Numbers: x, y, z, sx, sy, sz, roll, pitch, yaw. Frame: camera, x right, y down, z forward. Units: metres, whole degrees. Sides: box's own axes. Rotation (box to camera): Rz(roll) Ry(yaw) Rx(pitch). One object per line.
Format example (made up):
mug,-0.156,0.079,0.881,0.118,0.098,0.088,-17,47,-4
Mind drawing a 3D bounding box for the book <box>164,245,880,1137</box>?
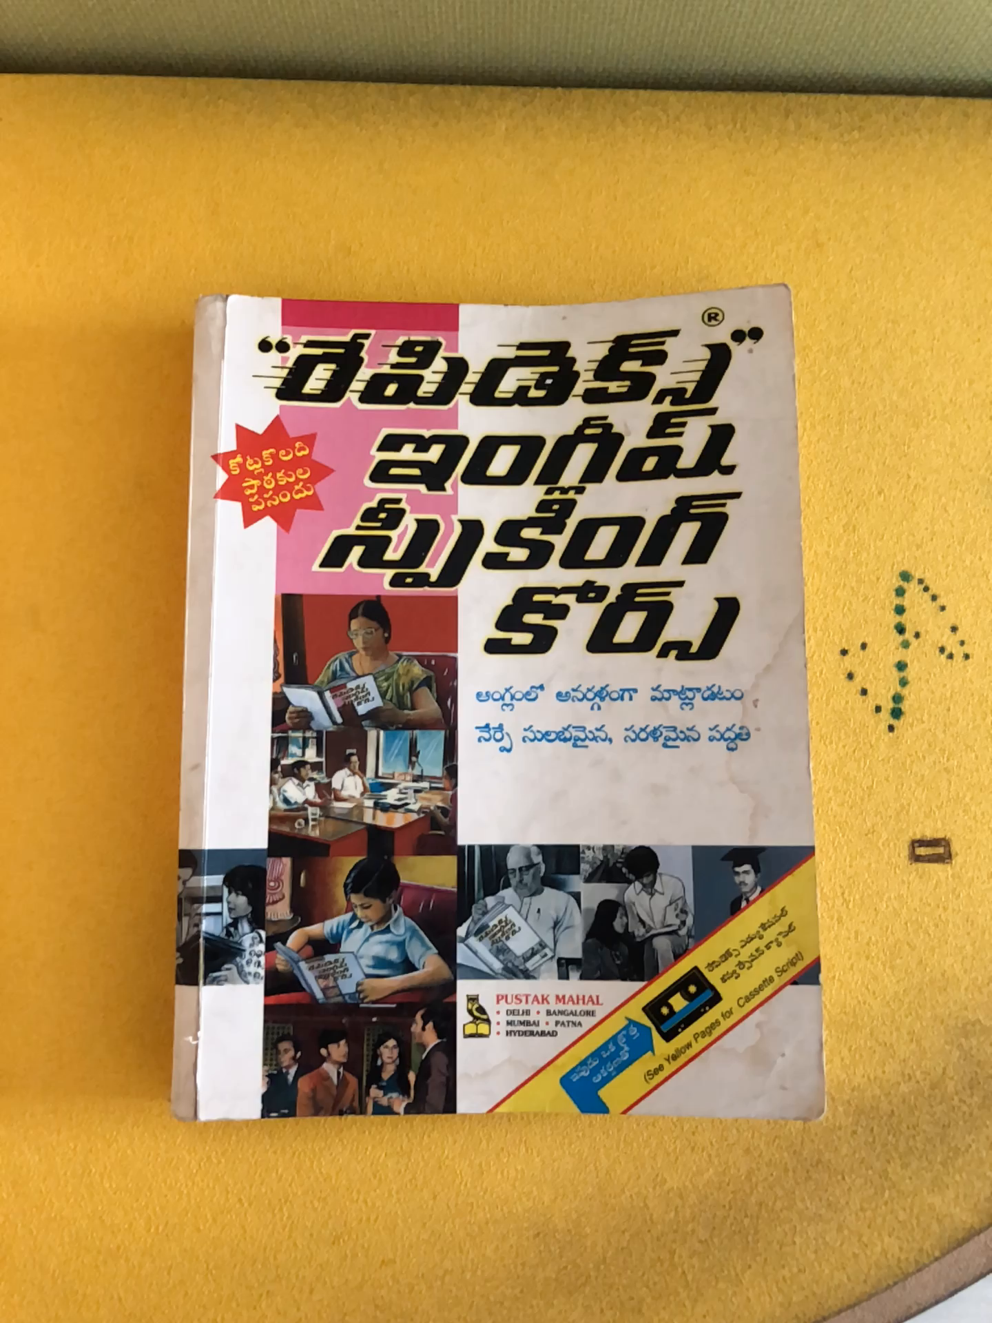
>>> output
book,0.006,0.002,0.324,0.190,0.030,0.250,-1,82,-2
